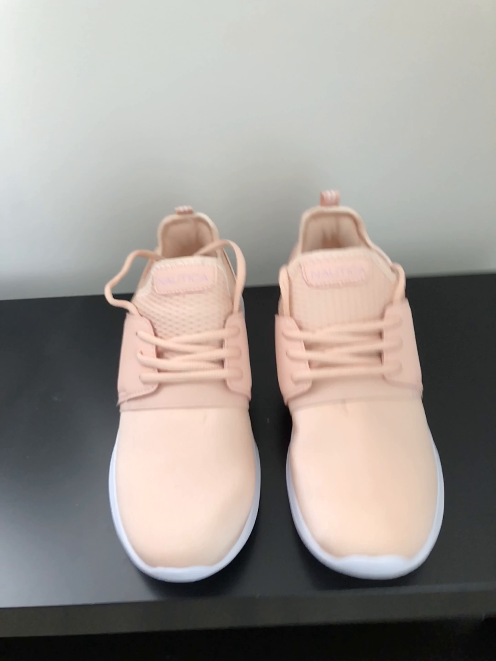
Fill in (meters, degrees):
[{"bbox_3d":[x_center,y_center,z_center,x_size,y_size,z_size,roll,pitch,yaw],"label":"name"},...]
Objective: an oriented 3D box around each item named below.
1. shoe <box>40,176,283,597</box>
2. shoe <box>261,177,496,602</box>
[{"bbox_3d":[-0.037,0.017,0.352,0.100,0.110,0.251,-3,45,1],"label":"shoe"},{"bbox_3d":[0.065,0.019,0.340,0.100,0.110,0.241,-3,45,1],"label":"shoe"}]
